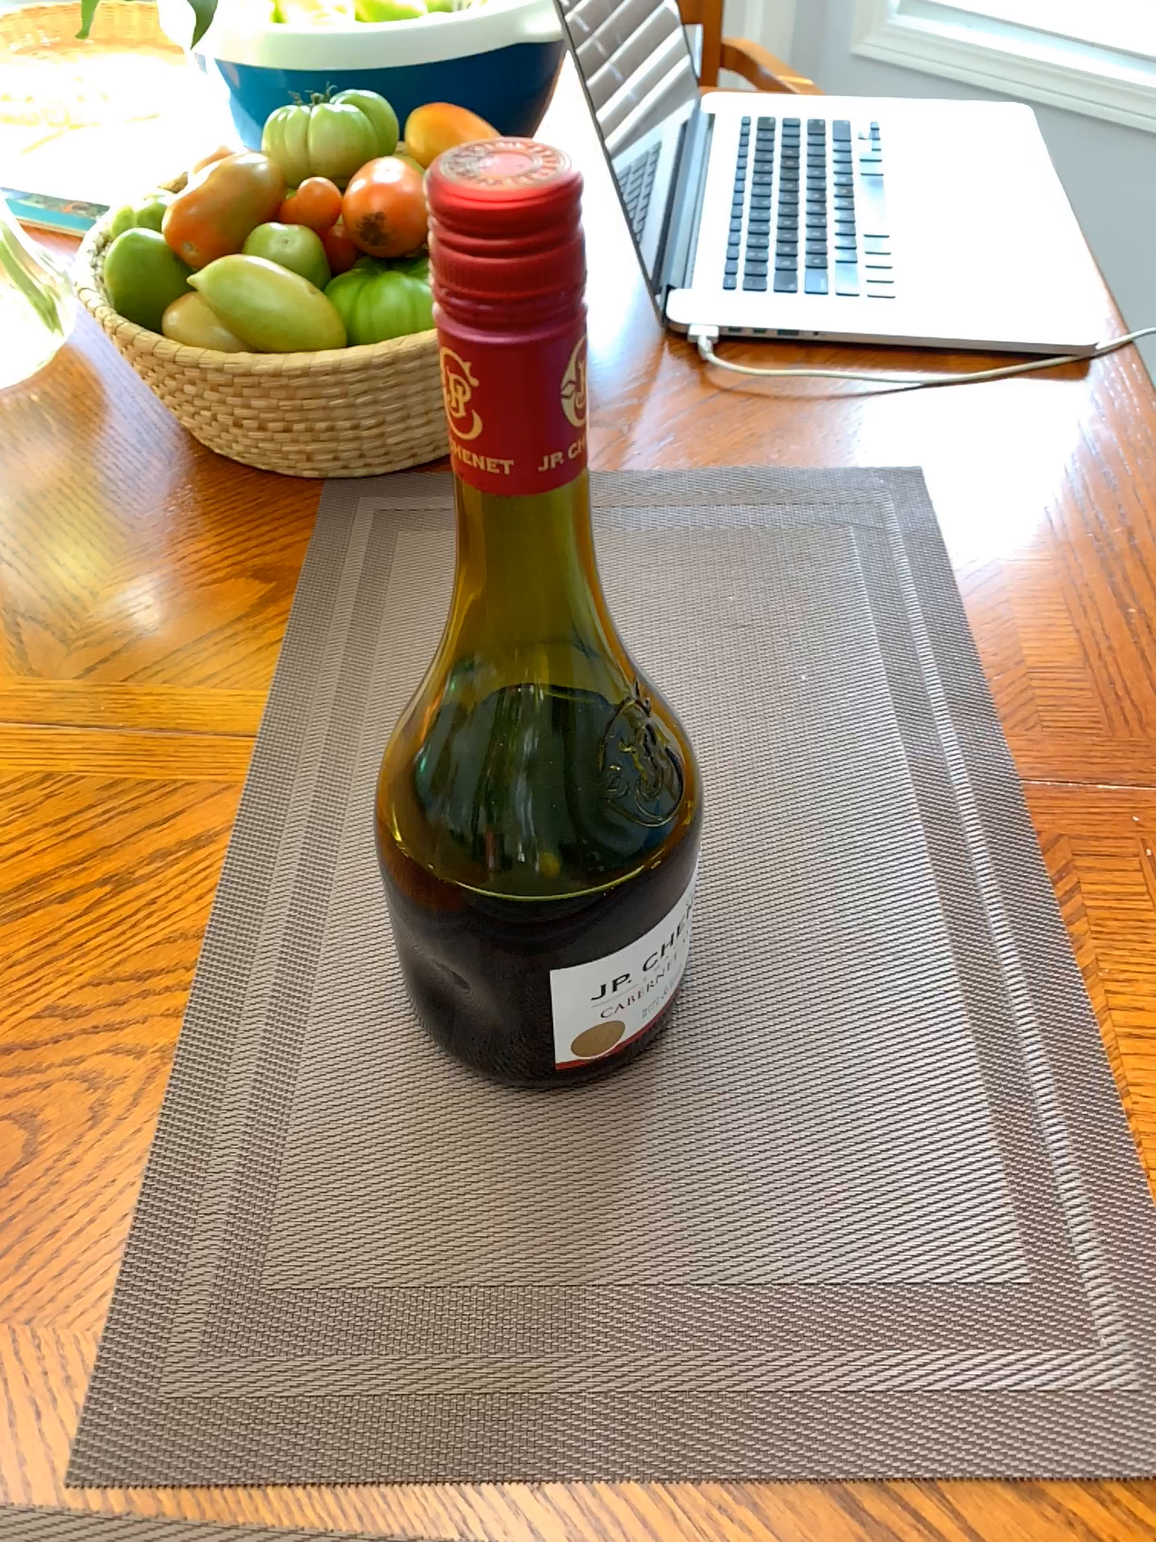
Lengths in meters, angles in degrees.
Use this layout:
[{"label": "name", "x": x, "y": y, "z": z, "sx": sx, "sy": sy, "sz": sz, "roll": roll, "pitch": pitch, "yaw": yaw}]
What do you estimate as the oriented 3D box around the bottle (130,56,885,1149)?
[{"label": "bottle", "x": -0.013, "y": -0.023, "z": 0.318, "sx": 0.100, "sy": 0.258, "sz": 0.100, "roll": 0, "pitch": 48, "yaw": 0}]
